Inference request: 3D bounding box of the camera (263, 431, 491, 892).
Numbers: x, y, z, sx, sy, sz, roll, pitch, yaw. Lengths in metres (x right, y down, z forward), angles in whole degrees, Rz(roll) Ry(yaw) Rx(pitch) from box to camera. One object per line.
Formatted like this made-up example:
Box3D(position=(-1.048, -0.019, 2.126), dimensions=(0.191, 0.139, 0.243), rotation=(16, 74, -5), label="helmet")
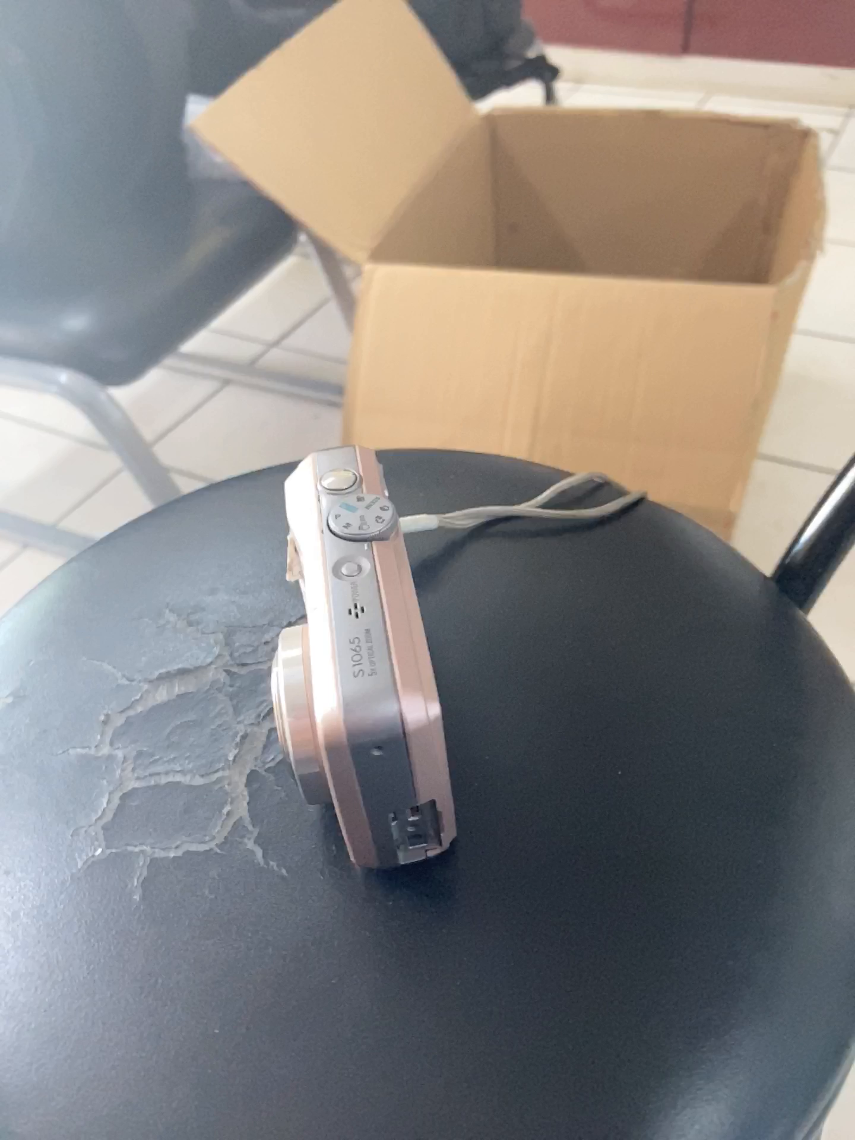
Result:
Box3D(position=(-0.015, 0.022, 0.247), dimensions=(0.040, 0.070, 0.101), rotation=(-11, 43, -6), label="camera")
